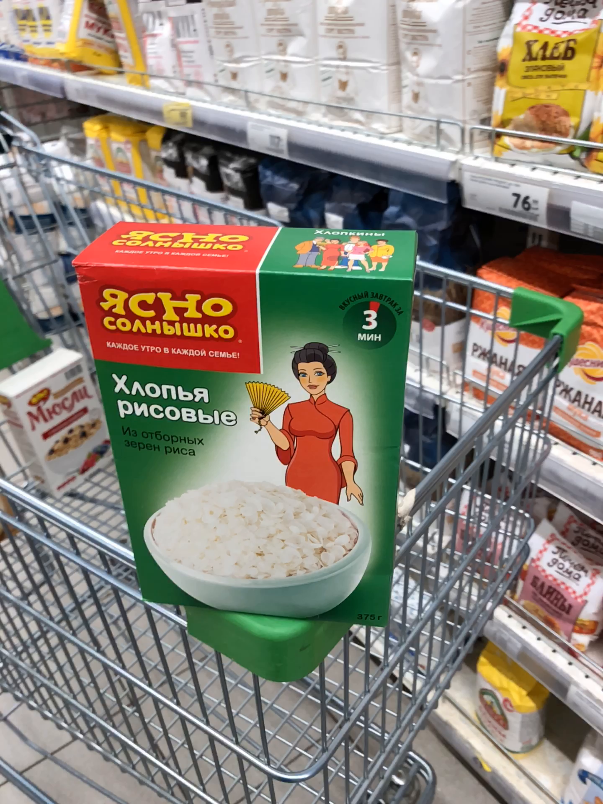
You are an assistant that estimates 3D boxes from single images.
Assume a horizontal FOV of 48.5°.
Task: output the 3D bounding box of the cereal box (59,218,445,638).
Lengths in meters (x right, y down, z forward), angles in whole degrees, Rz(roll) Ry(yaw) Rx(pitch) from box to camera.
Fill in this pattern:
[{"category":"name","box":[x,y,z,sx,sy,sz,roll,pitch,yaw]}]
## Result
[{"category":"cereal box","box":[-0.013,0.018,0.308,0.140,0.189,0.050,4,33,9]}]
